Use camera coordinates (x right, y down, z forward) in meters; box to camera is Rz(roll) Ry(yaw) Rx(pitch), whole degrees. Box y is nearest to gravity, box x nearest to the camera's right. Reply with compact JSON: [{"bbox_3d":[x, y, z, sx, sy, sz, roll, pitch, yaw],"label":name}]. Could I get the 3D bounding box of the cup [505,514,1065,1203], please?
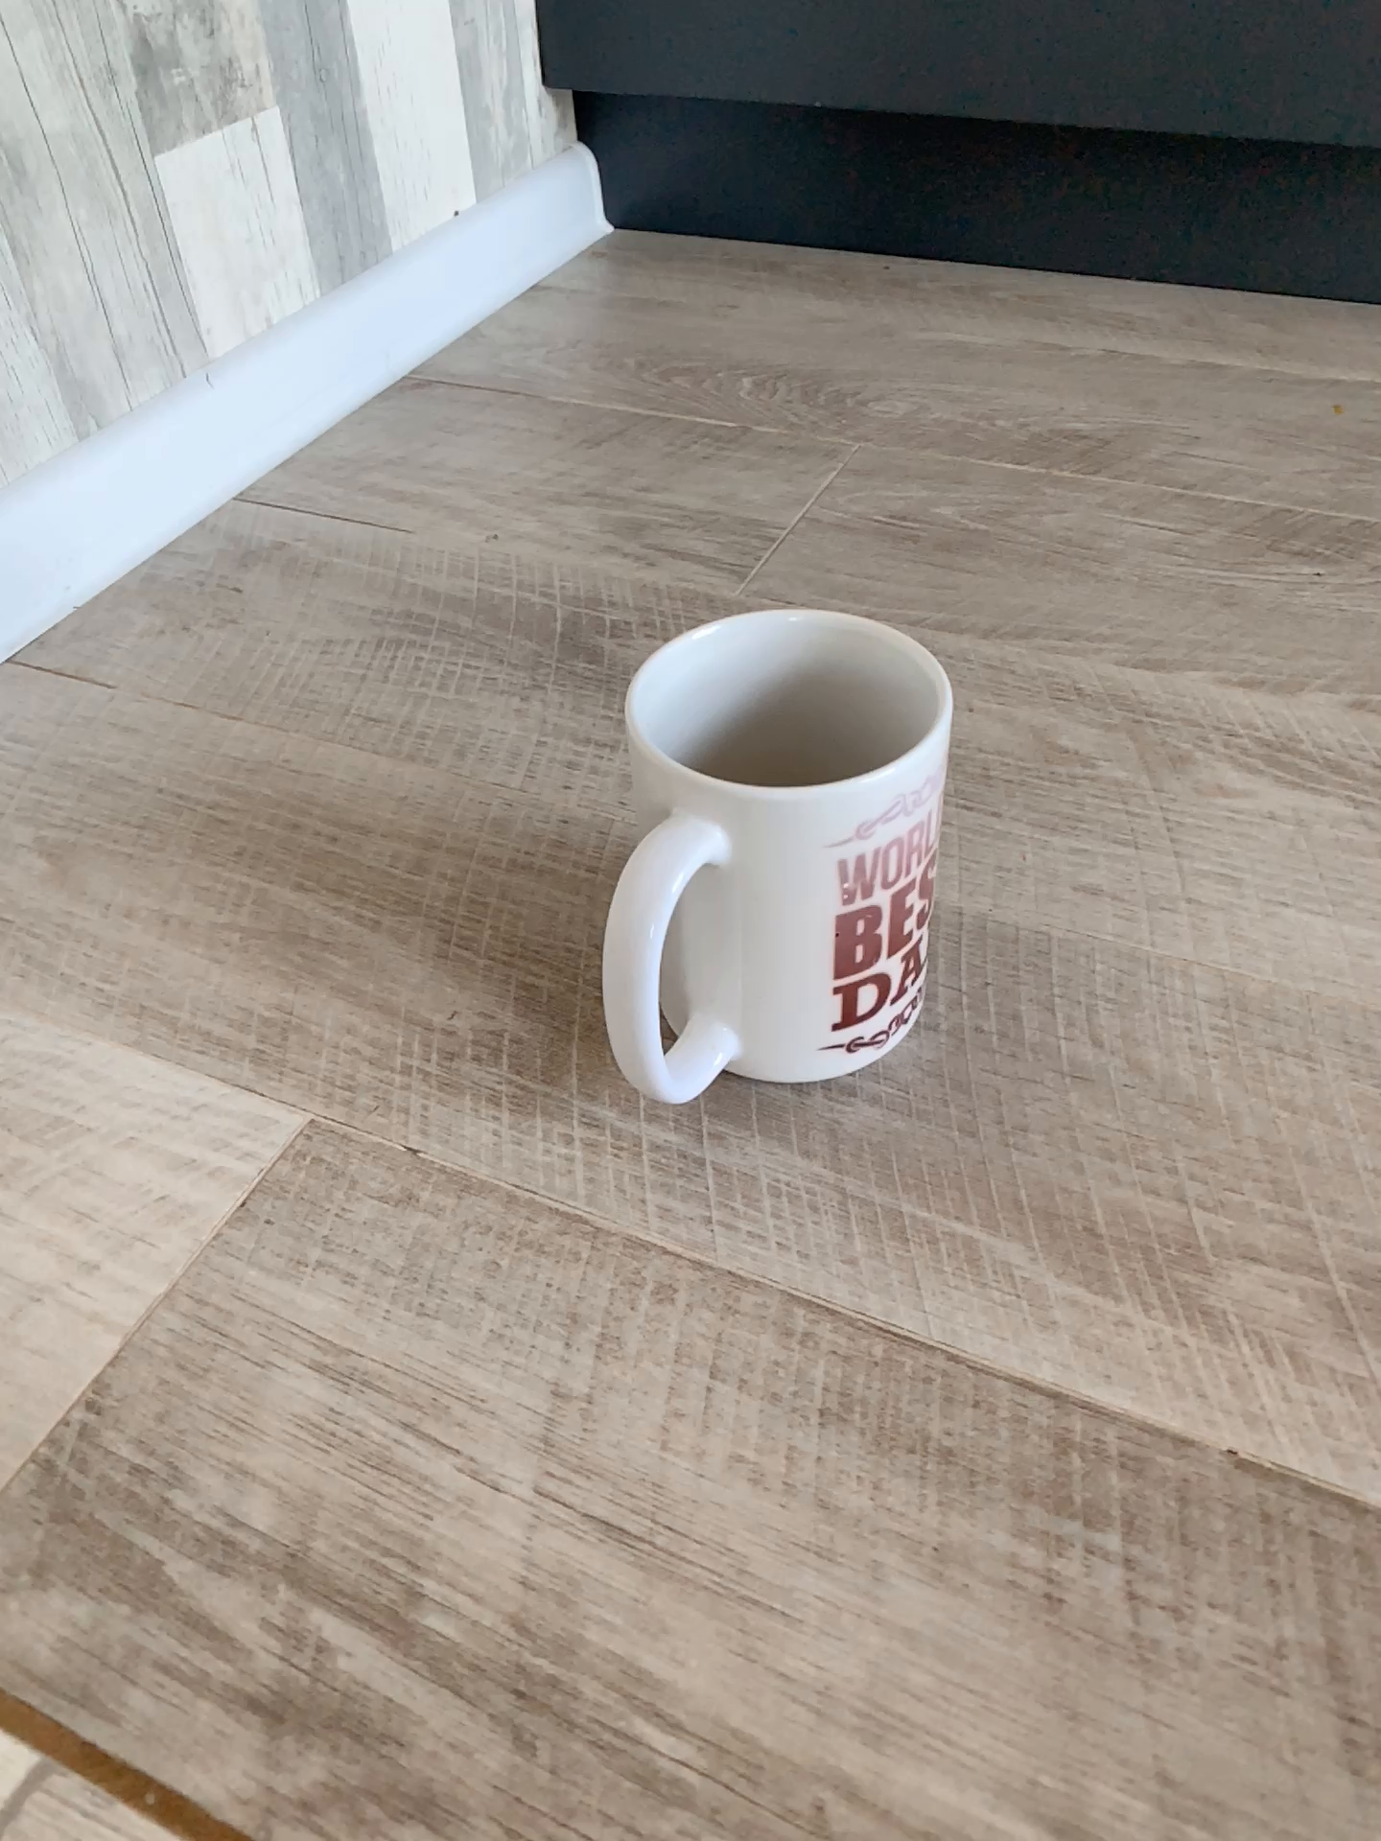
[{"bbox_3d":[0.030,-0.021,0.375,0.080,0.110,0.130,21,48,25],"label":"cup"}]
